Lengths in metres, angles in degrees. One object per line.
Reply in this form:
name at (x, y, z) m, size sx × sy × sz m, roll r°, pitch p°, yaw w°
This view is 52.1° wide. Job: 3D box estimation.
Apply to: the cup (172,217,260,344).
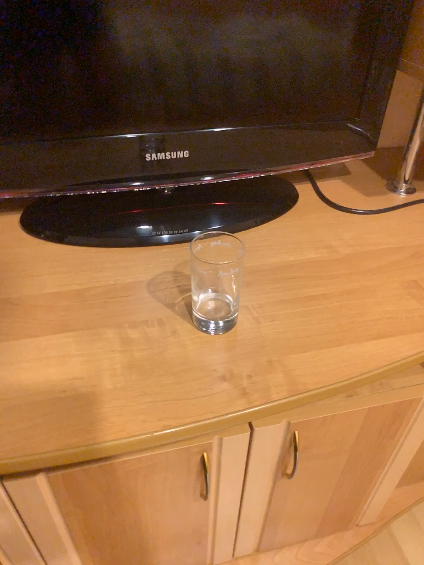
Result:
cup at (0.004, -0.002, 0.446) m, size 0.060 × 0.099 × 0.060 m, roll 1°, pitch 38°, yaw 0°
